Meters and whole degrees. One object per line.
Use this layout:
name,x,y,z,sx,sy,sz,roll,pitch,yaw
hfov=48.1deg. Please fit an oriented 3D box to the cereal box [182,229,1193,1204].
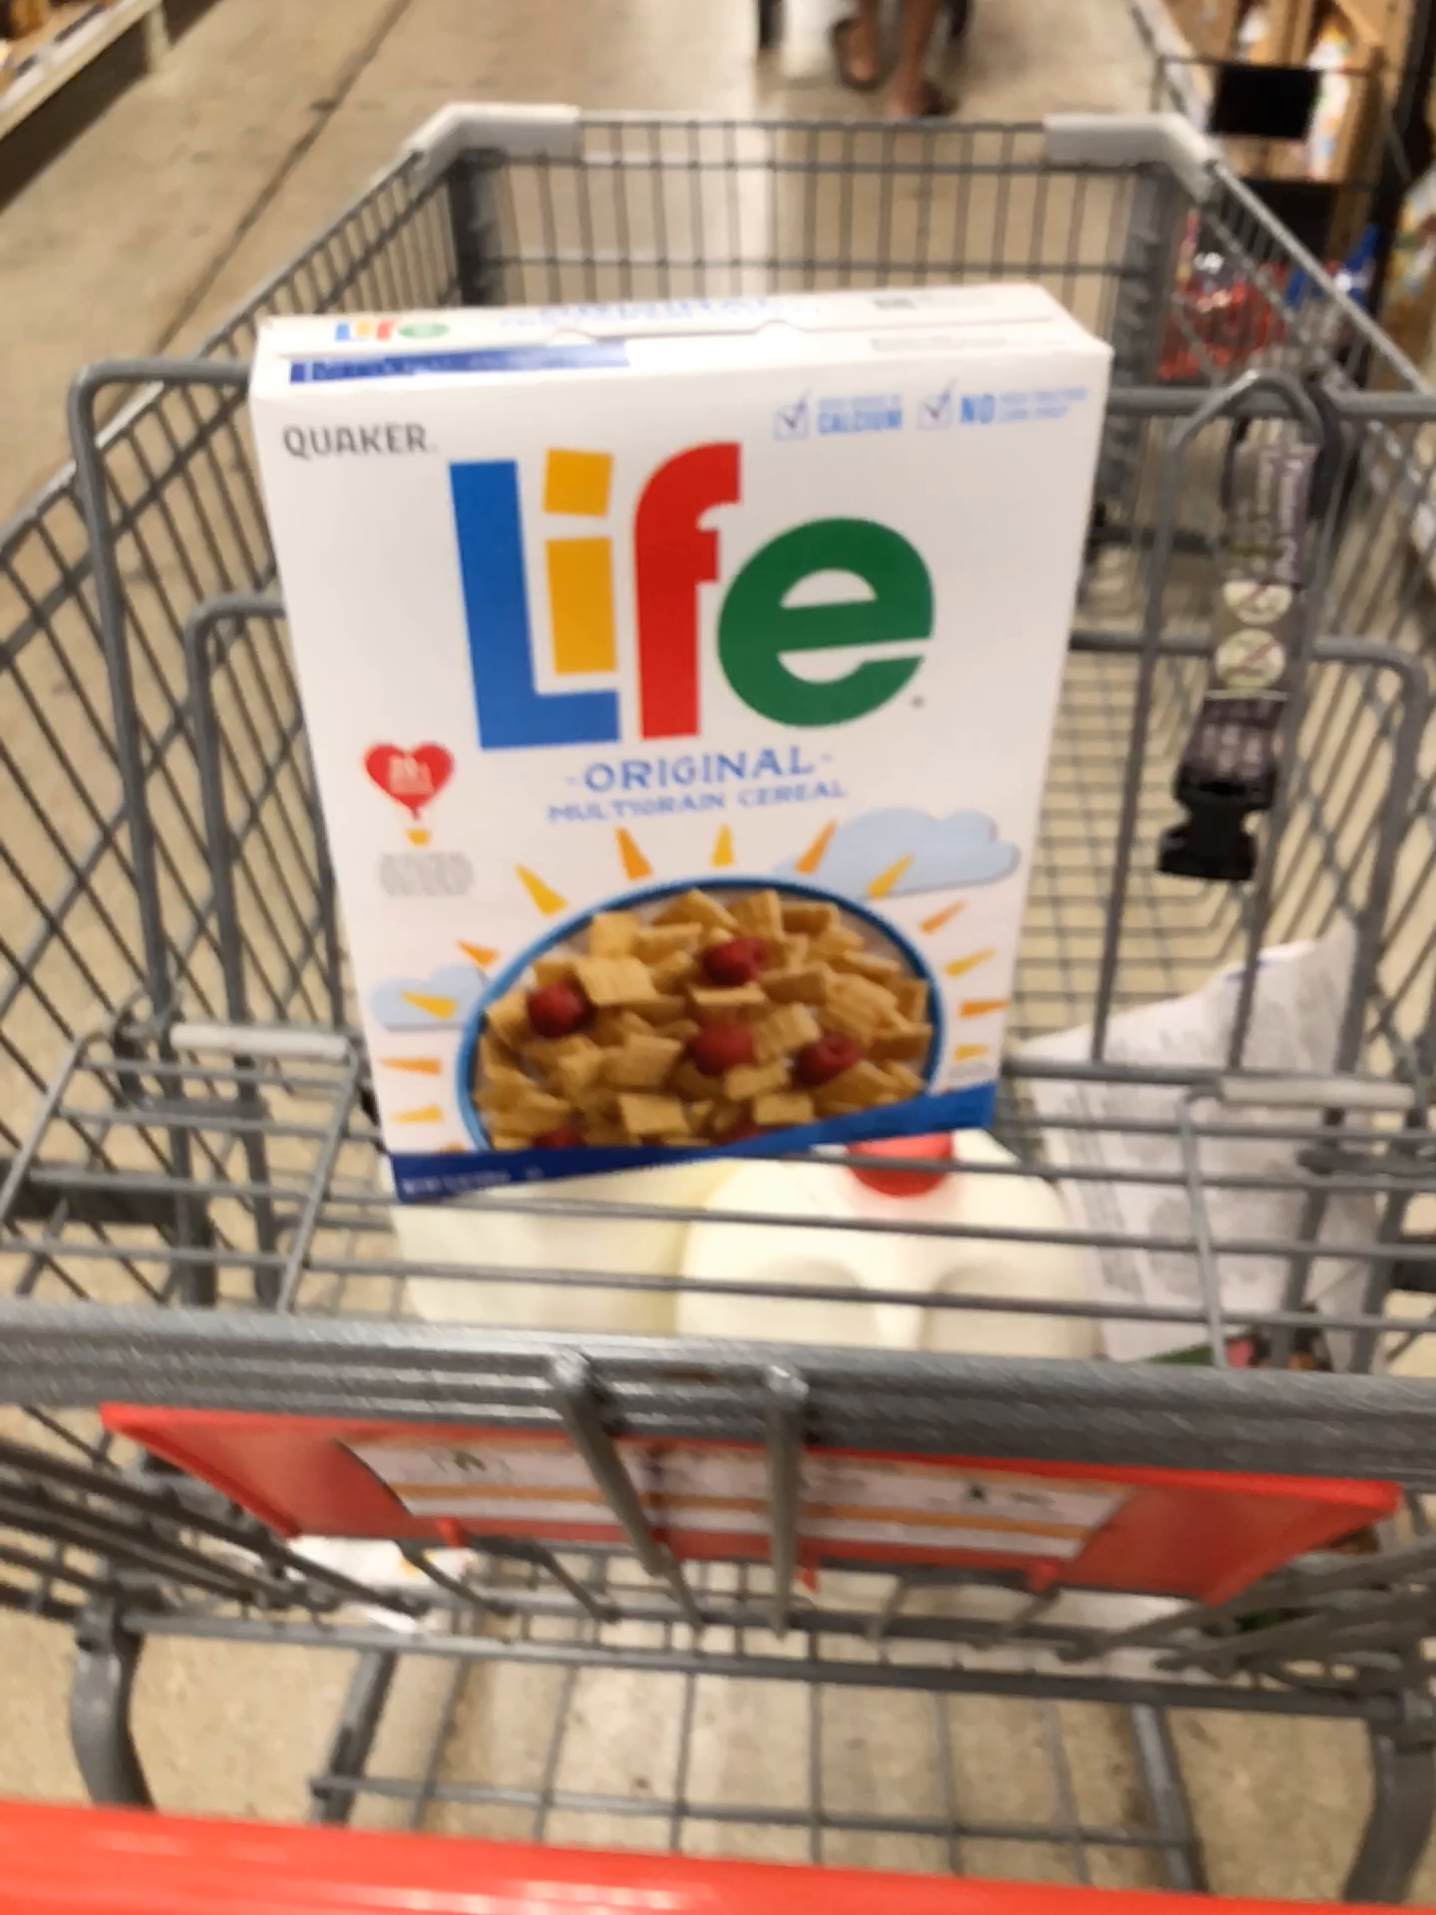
cereal box,-0.006,-0.048,0.411,0.200,0.240,0.050,-5,40,-6
